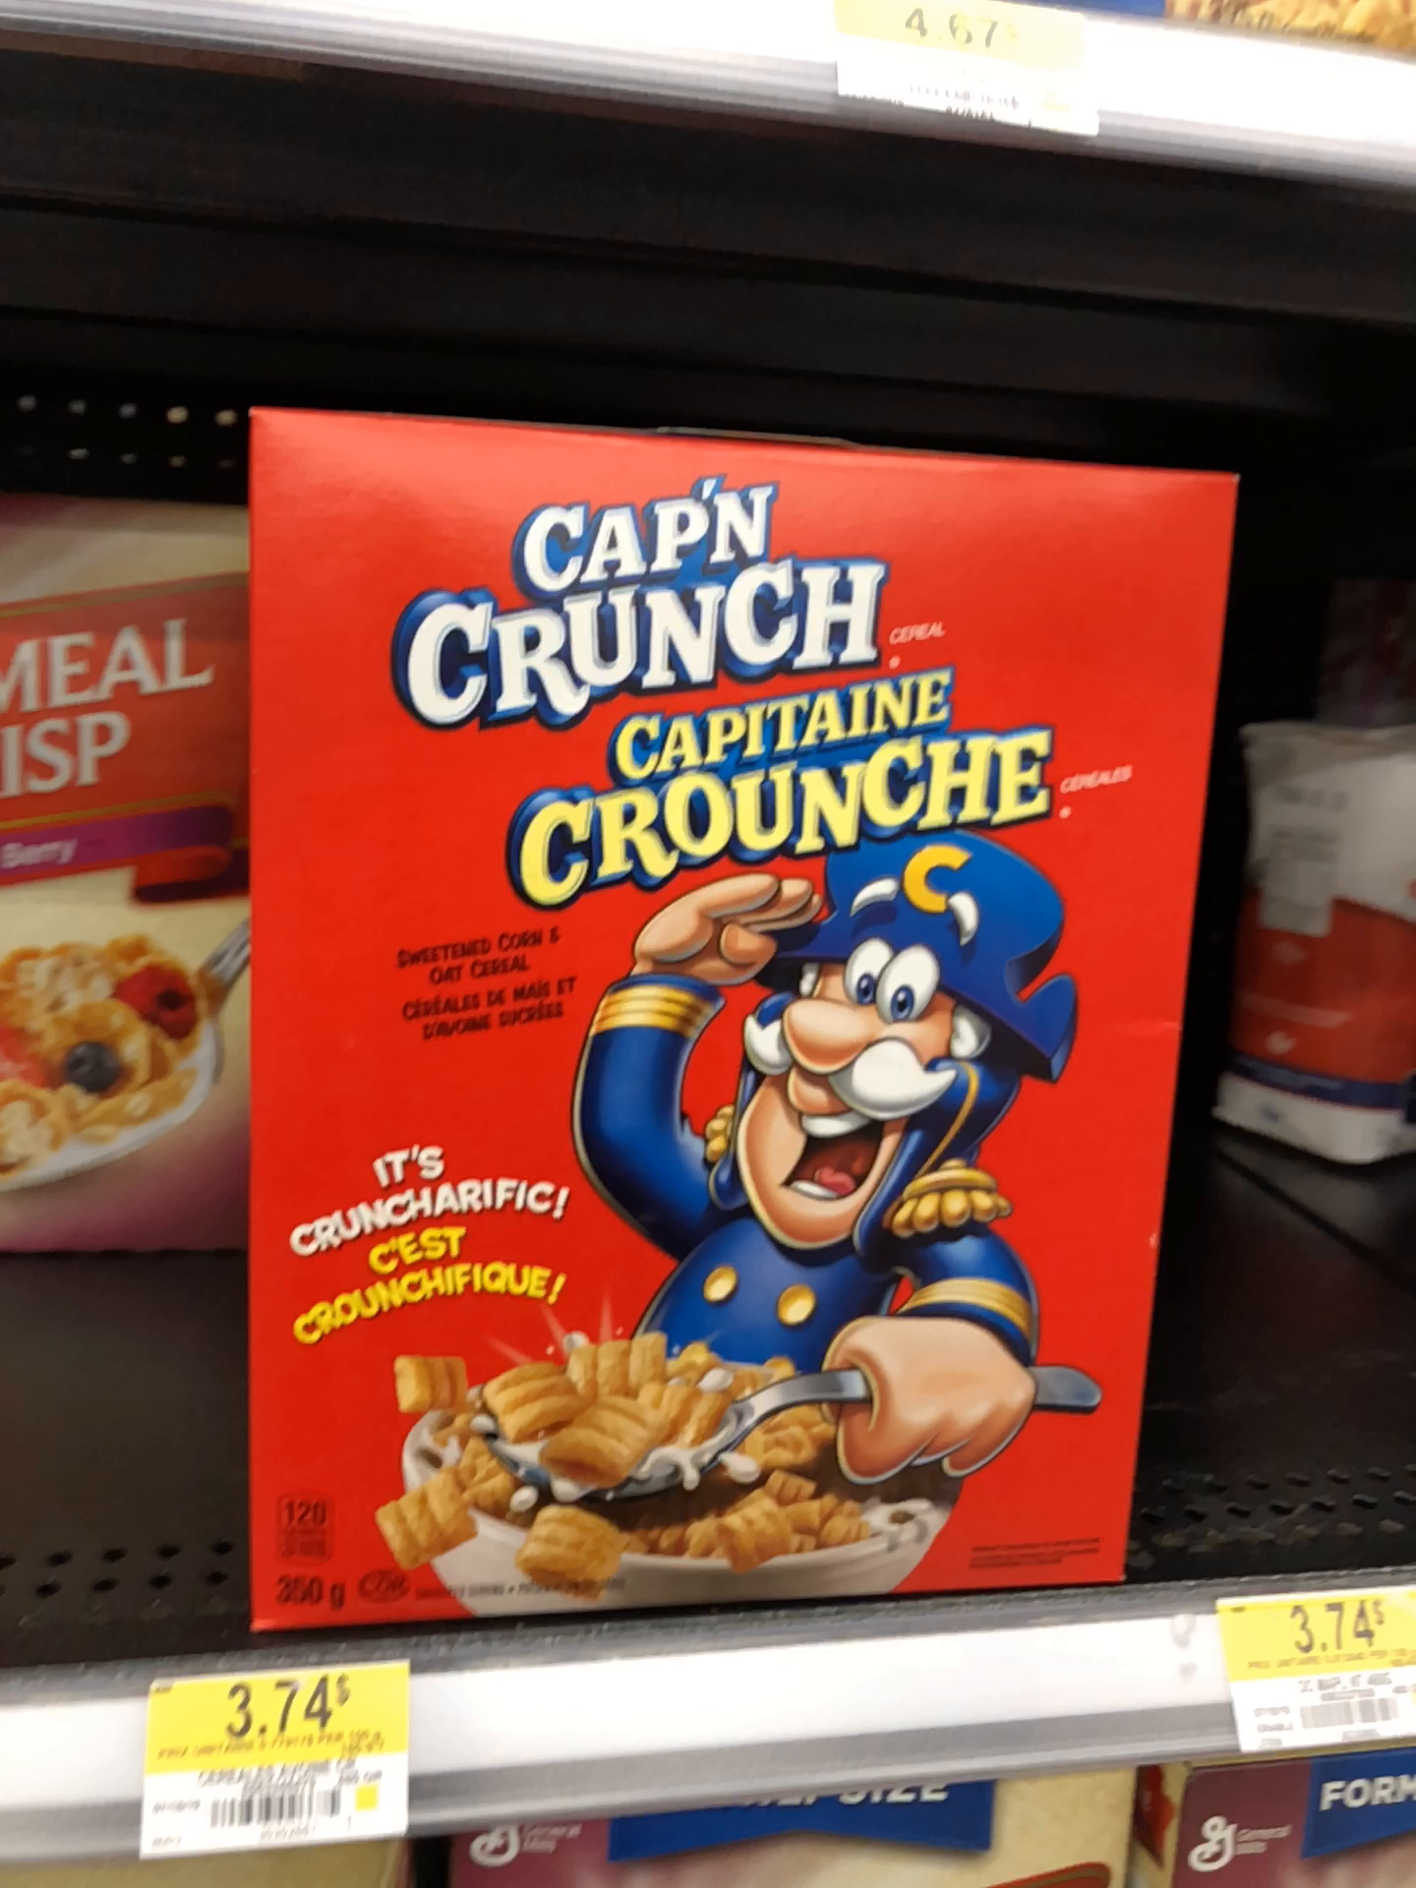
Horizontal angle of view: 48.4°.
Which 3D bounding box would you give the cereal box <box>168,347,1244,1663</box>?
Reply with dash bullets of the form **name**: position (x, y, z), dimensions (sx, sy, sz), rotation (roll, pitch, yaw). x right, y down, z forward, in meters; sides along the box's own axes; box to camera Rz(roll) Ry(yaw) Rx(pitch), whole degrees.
- **cereal box**: position (-0.006, 0.019, 0.373), dimensions (0.220, 0.279, 0.060), rotation (1, 11, -10)
